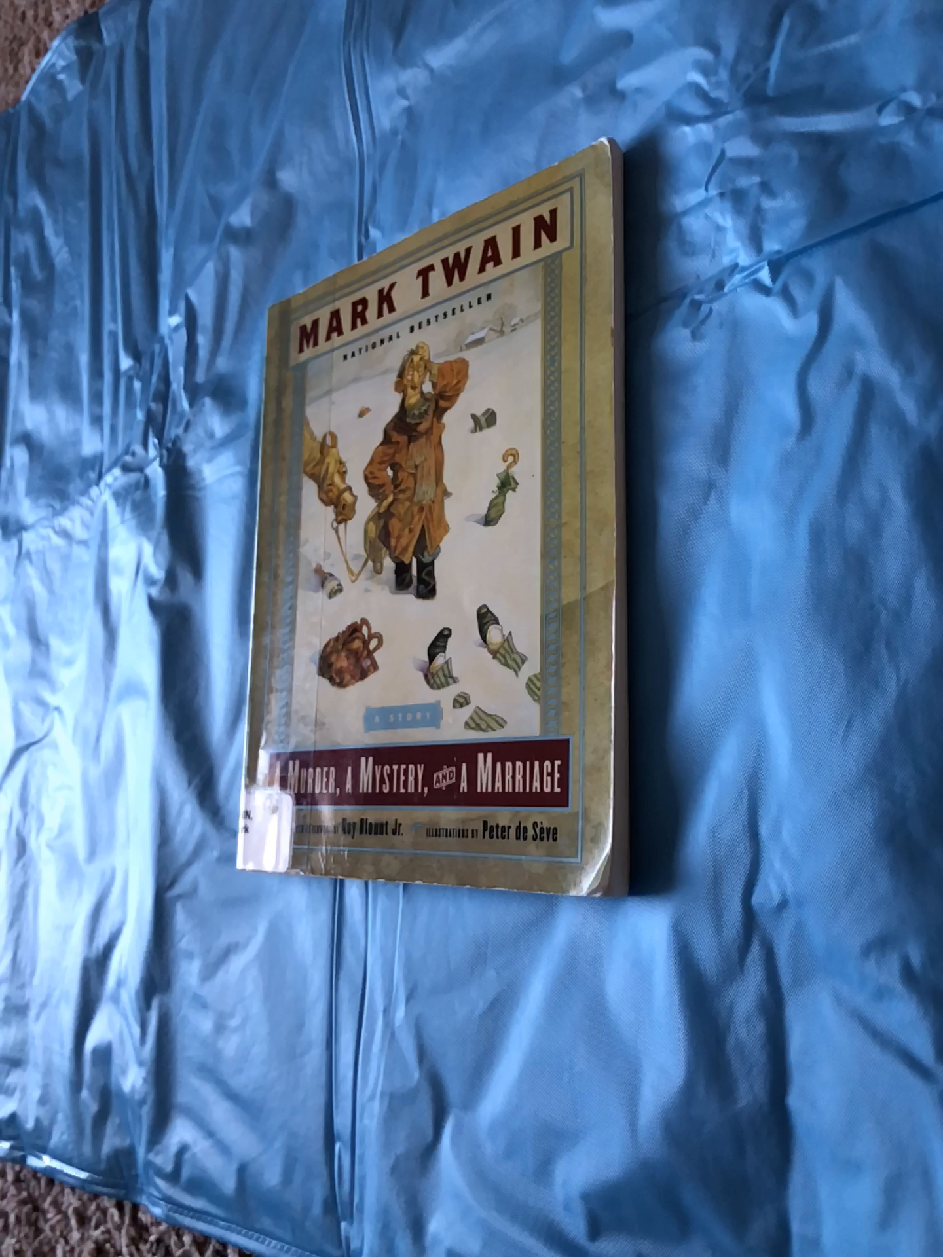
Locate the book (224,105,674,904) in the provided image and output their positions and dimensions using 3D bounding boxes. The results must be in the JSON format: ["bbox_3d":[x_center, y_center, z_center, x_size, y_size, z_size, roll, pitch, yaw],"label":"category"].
[{"bbox_3d":[-0.014,-0.029,0.325,0.161,0.020,0.210,-8,76,41],"label":"book"}]
